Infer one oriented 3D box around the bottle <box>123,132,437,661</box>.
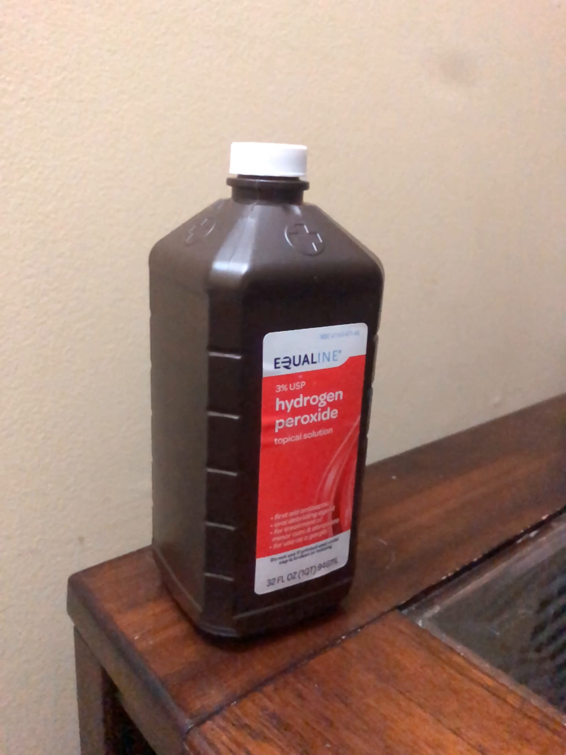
[{"bbox_3d":[-0.007,0.001,0.269,0.090,0.190,0.080,-9,21,-31],"label":"bottle"}]
